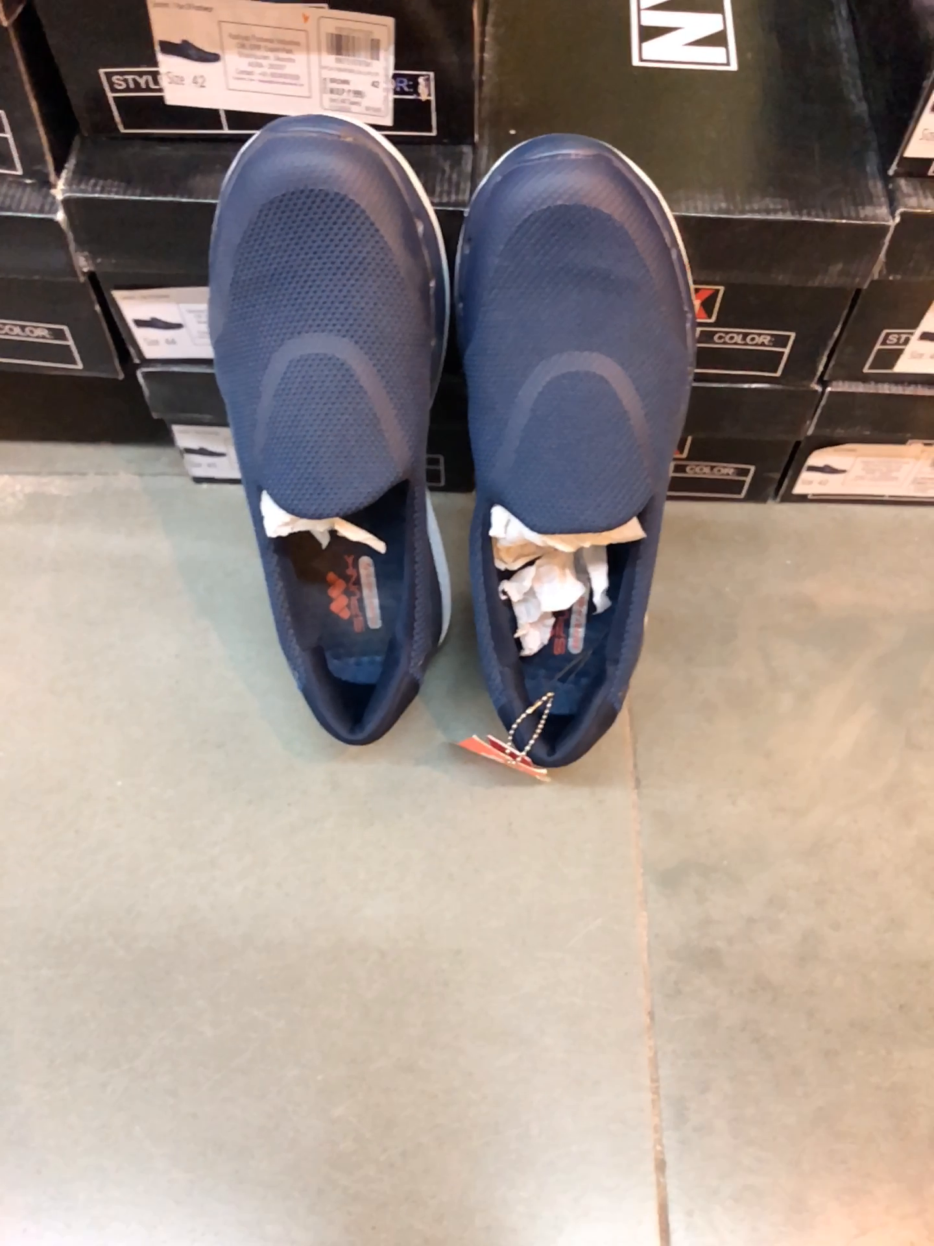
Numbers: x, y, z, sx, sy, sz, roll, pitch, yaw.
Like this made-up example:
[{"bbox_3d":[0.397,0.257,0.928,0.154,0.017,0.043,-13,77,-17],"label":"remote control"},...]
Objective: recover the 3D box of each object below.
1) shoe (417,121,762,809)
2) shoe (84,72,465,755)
[{"bbox_3d":[0.042,-0.054,0.441,0.107,0.272,0.100,0,35,2],"label":"shoe"},{"bbox_3d":[-0.062,-0.080,0.458,0.109,0.272,0.110,0,37,3],"label":"shoe"}]
